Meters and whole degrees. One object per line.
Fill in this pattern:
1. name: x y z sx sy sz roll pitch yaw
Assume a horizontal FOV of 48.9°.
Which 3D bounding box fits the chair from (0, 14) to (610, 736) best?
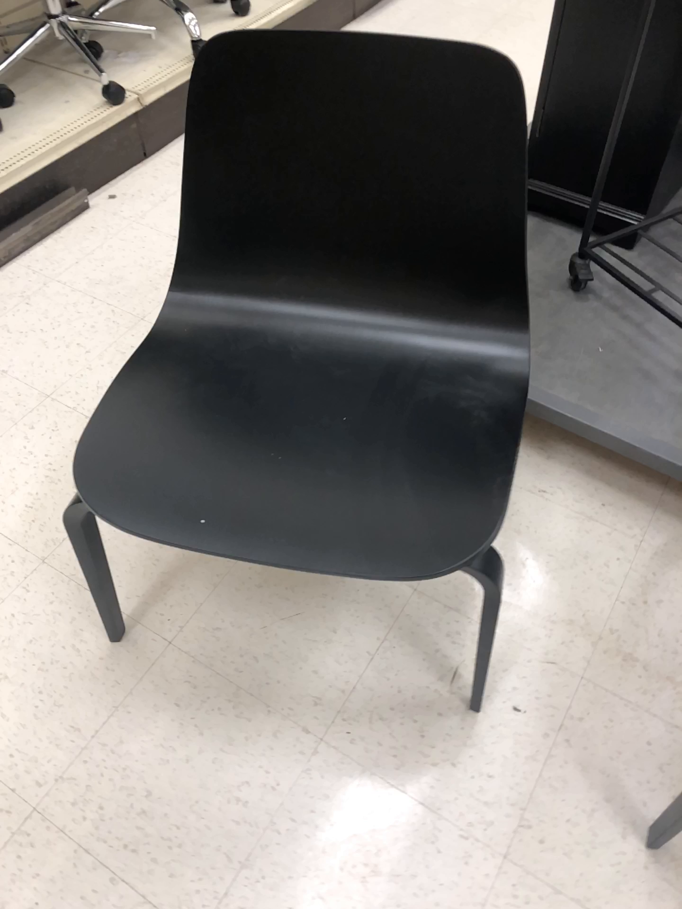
1. chair: -0.038 -0.103 1.079 0.640 0.718 0.632 9 50 9
